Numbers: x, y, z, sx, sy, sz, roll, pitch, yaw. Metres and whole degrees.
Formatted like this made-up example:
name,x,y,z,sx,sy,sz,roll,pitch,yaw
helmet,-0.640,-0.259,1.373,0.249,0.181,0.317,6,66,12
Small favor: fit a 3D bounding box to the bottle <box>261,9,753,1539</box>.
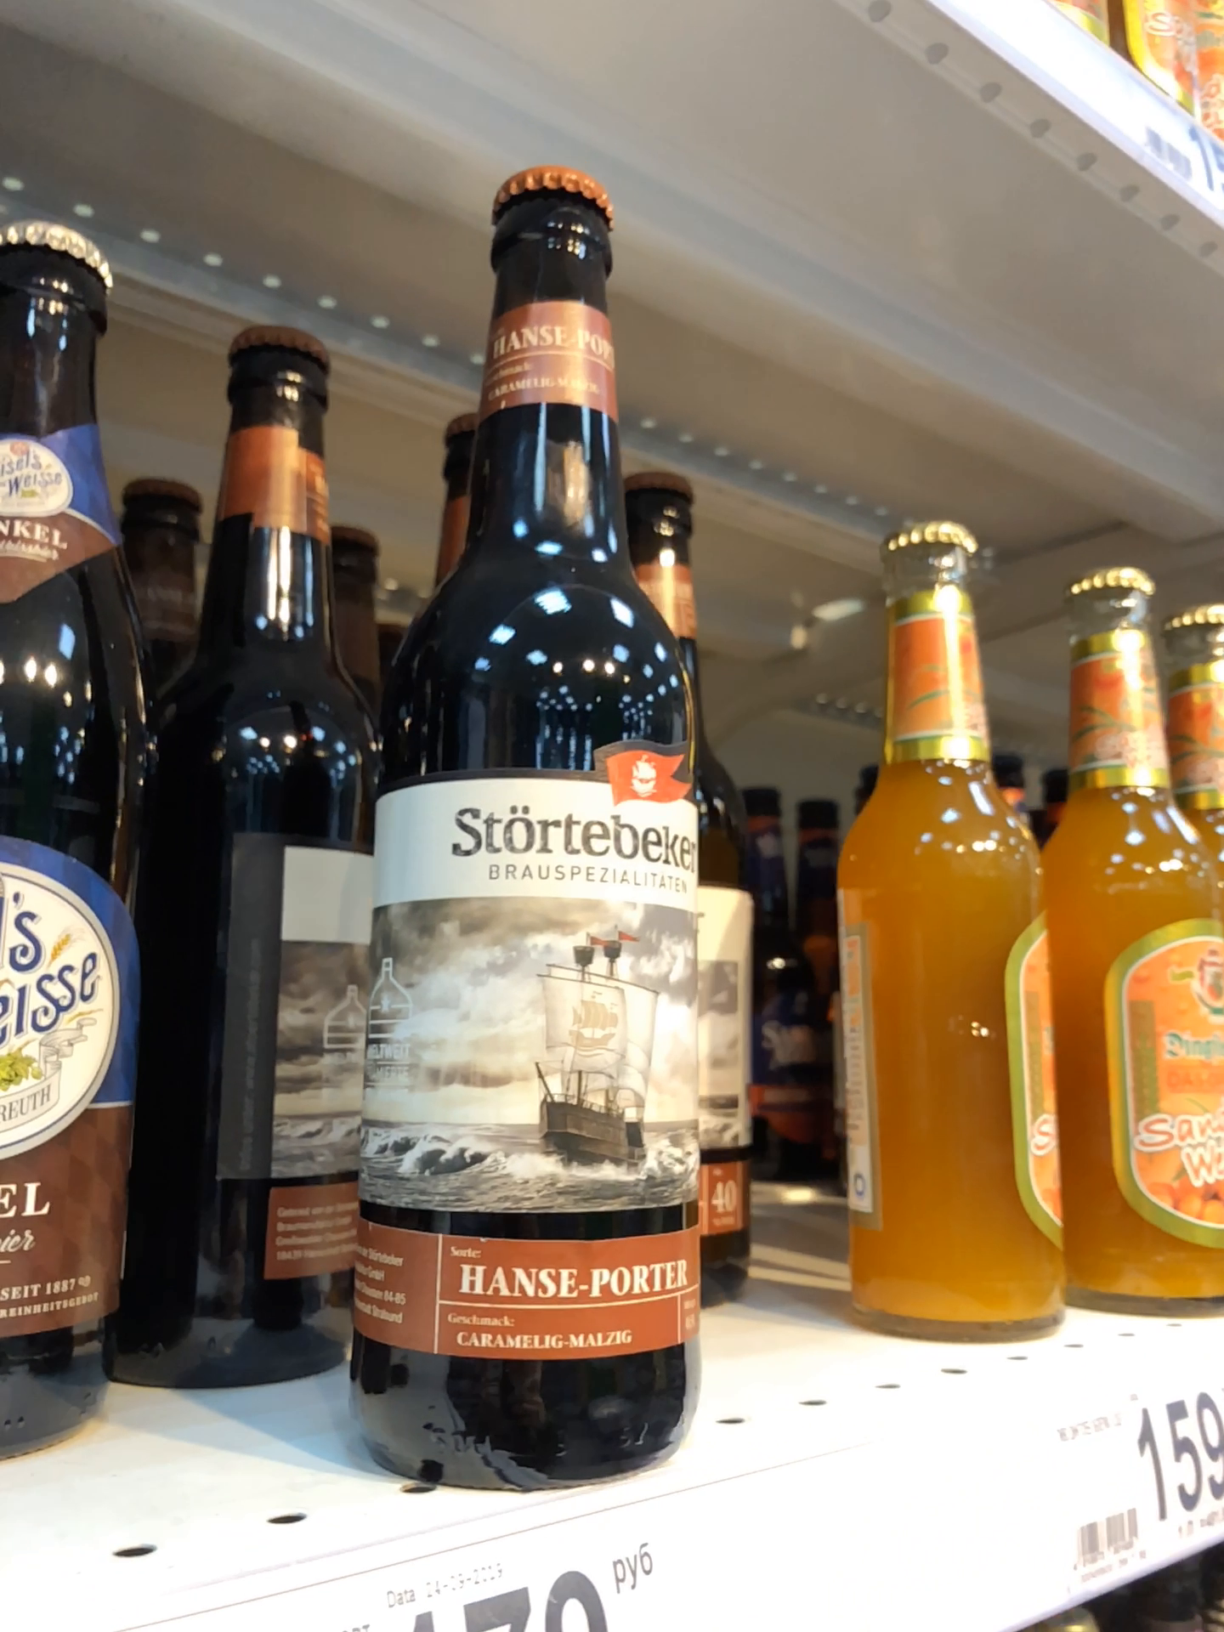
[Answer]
name,x,y,z,sx,sy,sz,roll,pitch,yaw
bottle,-0.019,-0.013,0.293,0.070,0.281,0.070,1,-10,0
